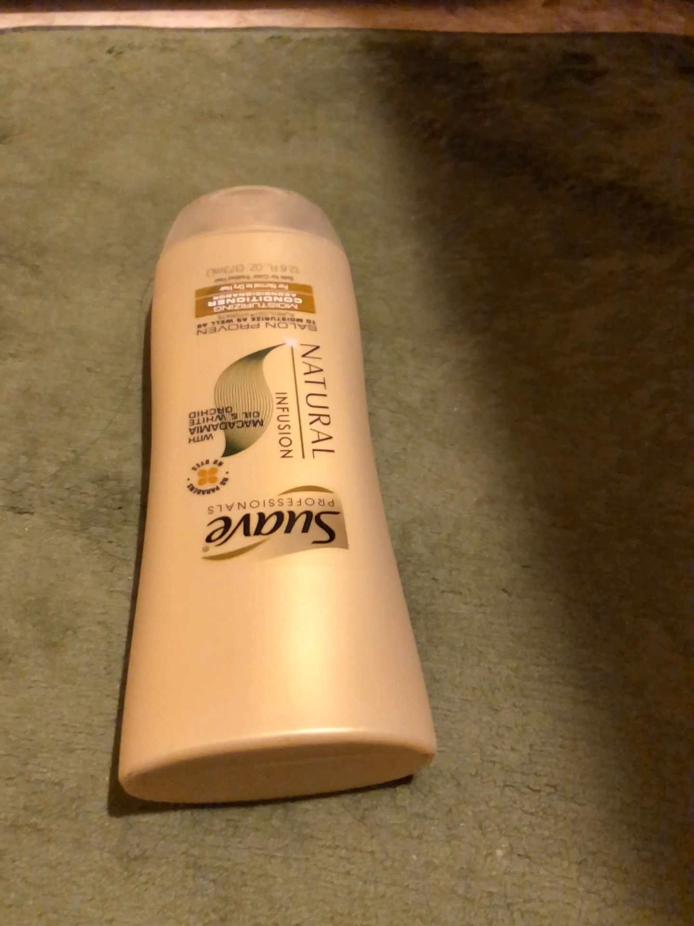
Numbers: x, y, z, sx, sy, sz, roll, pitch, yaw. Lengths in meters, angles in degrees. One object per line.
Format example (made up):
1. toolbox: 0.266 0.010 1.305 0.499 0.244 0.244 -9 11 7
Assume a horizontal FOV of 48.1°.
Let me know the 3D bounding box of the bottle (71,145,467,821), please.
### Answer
1. bottle: -0.028 -0.016 0.244 0.080 0.050 0.220 -4 53 -5
